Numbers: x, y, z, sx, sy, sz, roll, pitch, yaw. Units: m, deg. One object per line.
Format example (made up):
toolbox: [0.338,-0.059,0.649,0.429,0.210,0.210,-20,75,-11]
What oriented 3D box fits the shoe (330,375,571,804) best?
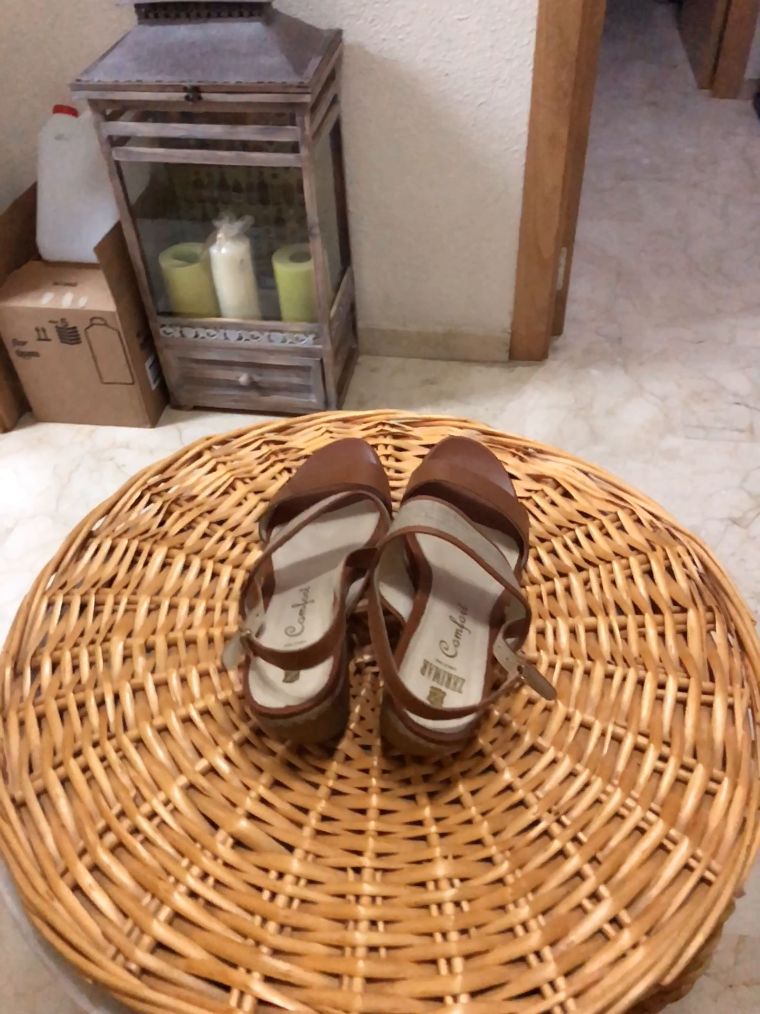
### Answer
shoe: [0.055,0.035,0.540,0.100,0.070,0.271,17,46,0]

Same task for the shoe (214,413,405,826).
shoe: [-0.032,0.057,0.553,0.090,0.090,0.271,0,44,3]
